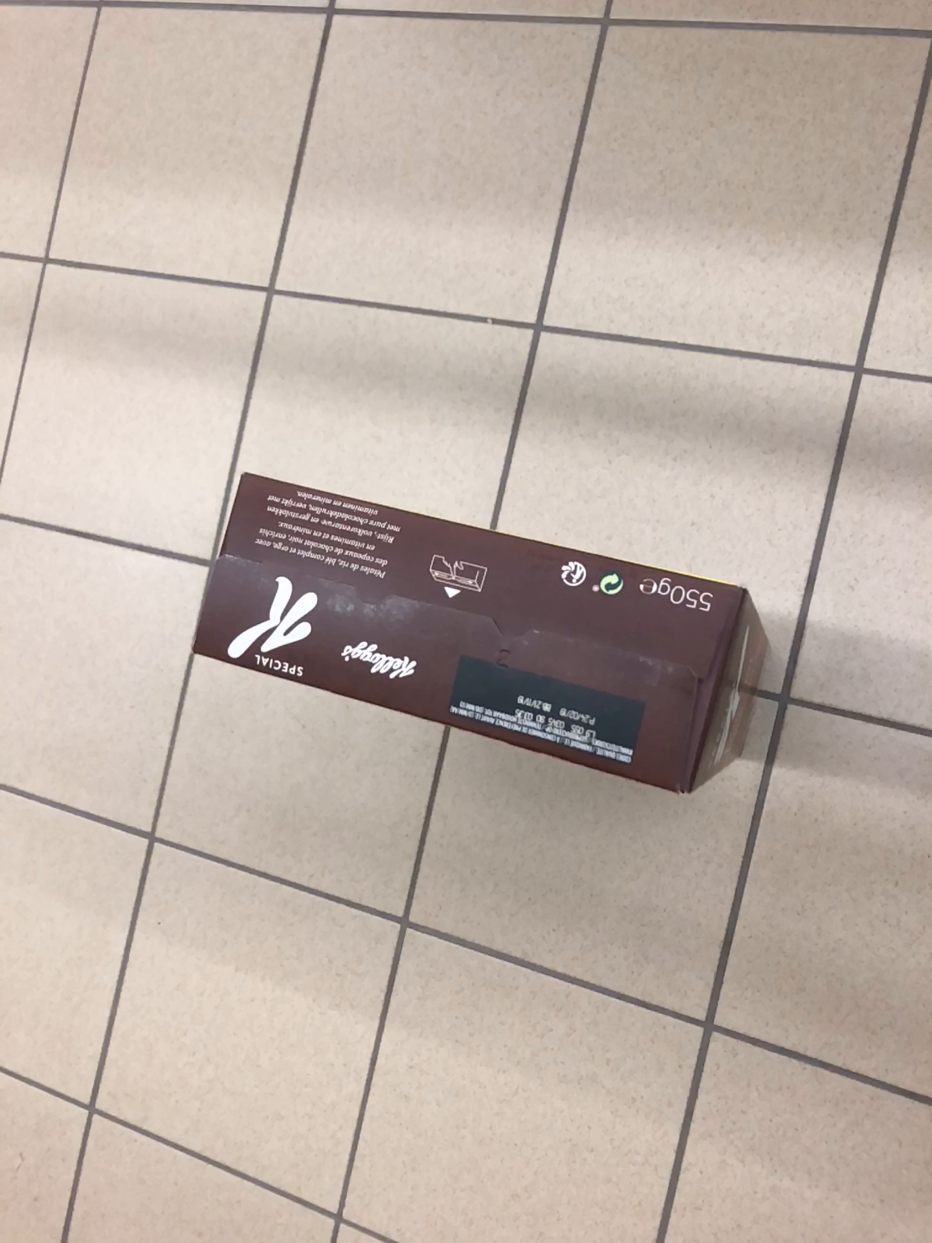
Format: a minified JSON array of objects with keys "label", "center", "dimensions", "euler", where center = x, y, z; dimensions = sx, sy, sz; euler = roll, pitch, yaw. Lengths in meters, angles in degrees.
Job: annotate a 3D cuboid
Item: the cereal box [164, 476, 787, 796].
[{"label":"cereal box","center":[0.038,0.016,0.490],"dimensions":[0.210,0.300,0.070],"euler":[11,87,18]}]
